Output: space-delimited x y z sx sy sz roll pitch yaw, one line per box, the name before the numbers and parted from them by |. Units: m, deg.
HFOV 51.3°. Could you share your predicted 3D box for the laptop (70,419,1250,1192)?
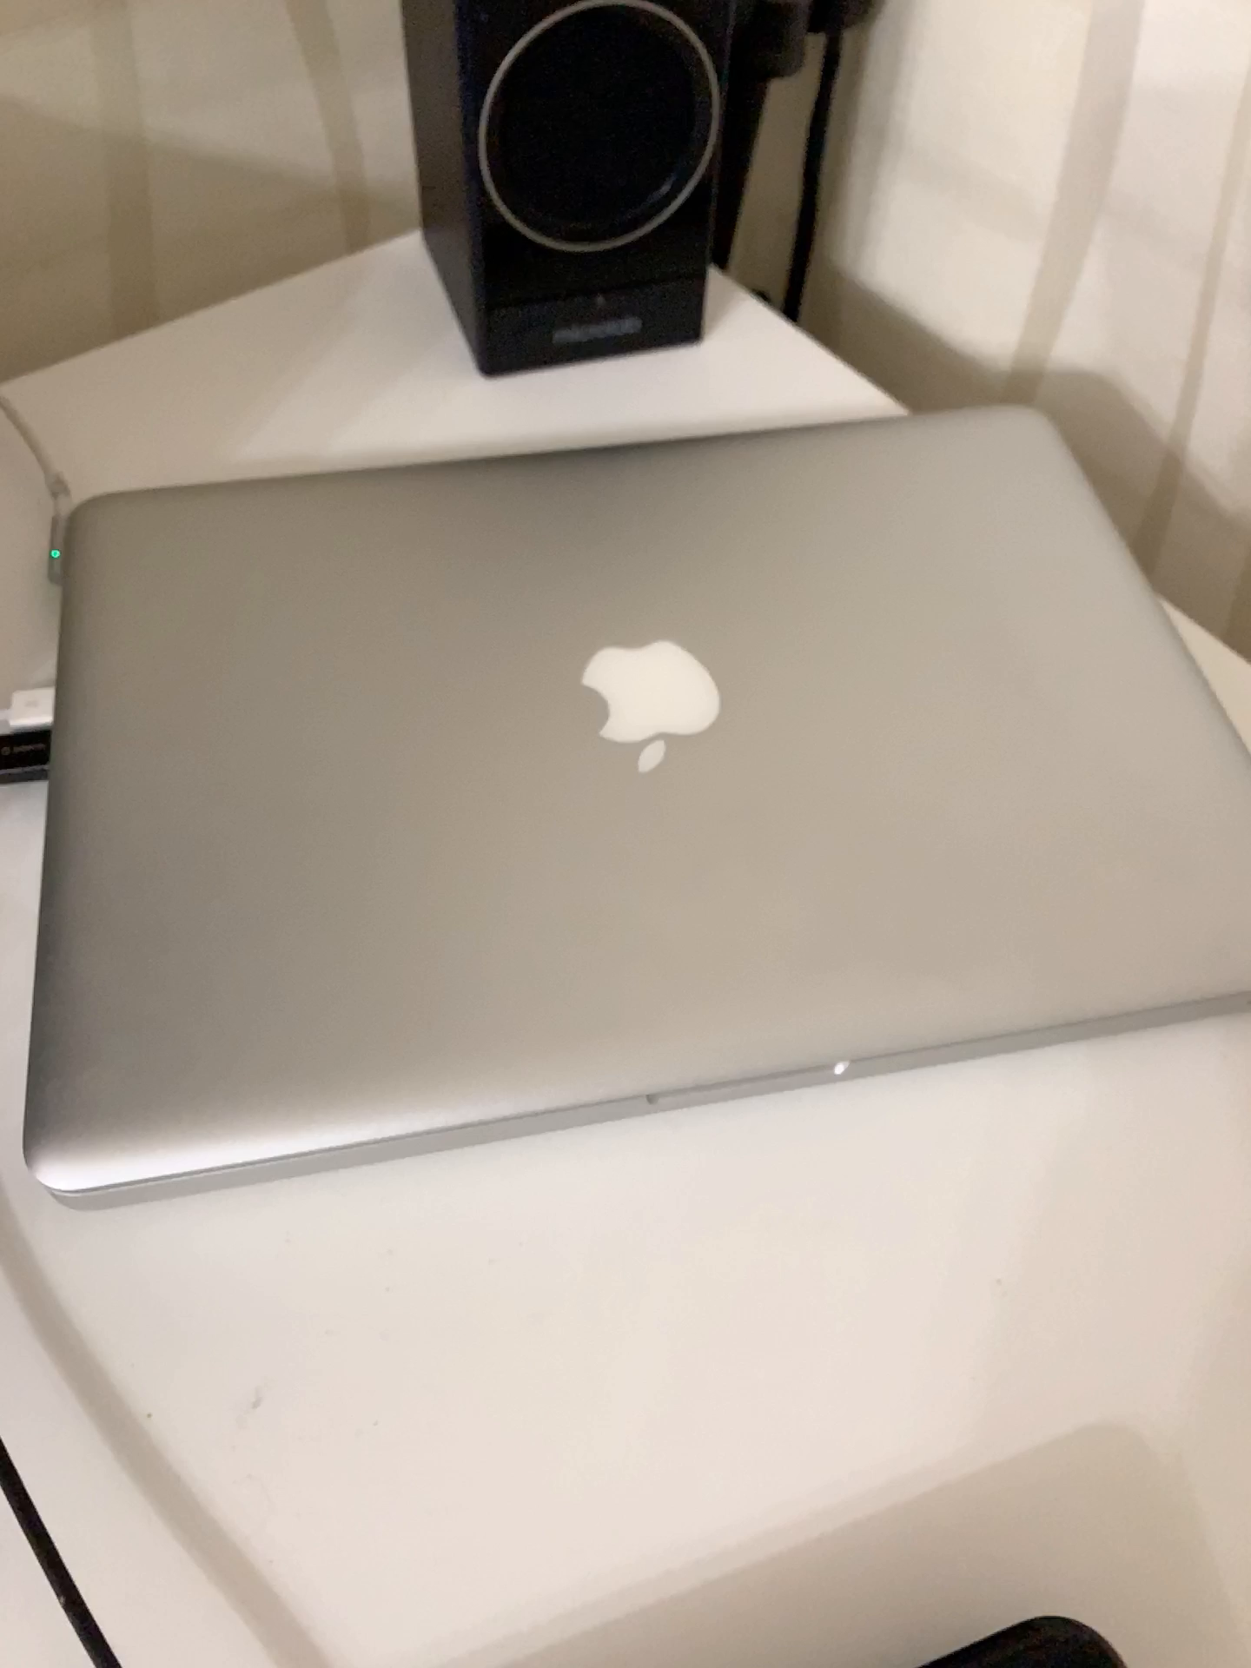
laptop | 0.009 -0.029 0.360 0.304 0.011 0.208 -8 57 -8
